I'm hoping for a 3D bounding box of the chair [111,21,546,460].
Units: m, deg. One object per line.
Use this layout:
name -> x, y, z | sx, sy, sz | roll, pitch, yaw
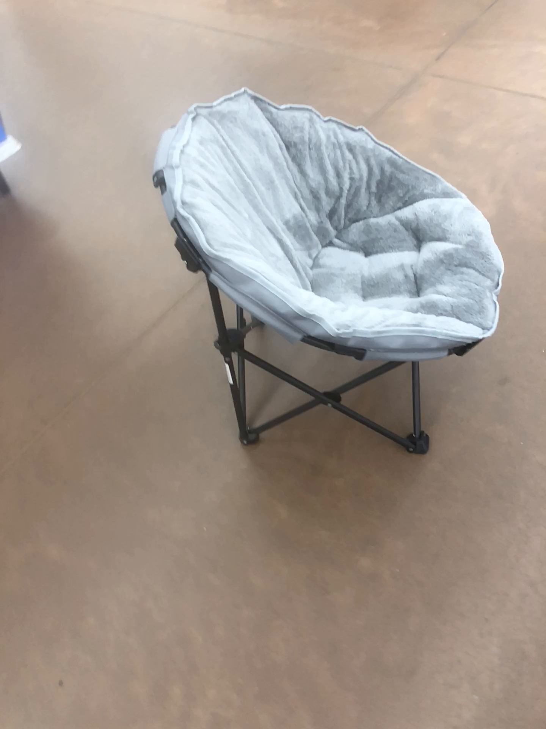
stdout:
chair -> 0.144, -0.212, 1.118 | 0.630, 0.528, 0.572 | -2, 50, 6
